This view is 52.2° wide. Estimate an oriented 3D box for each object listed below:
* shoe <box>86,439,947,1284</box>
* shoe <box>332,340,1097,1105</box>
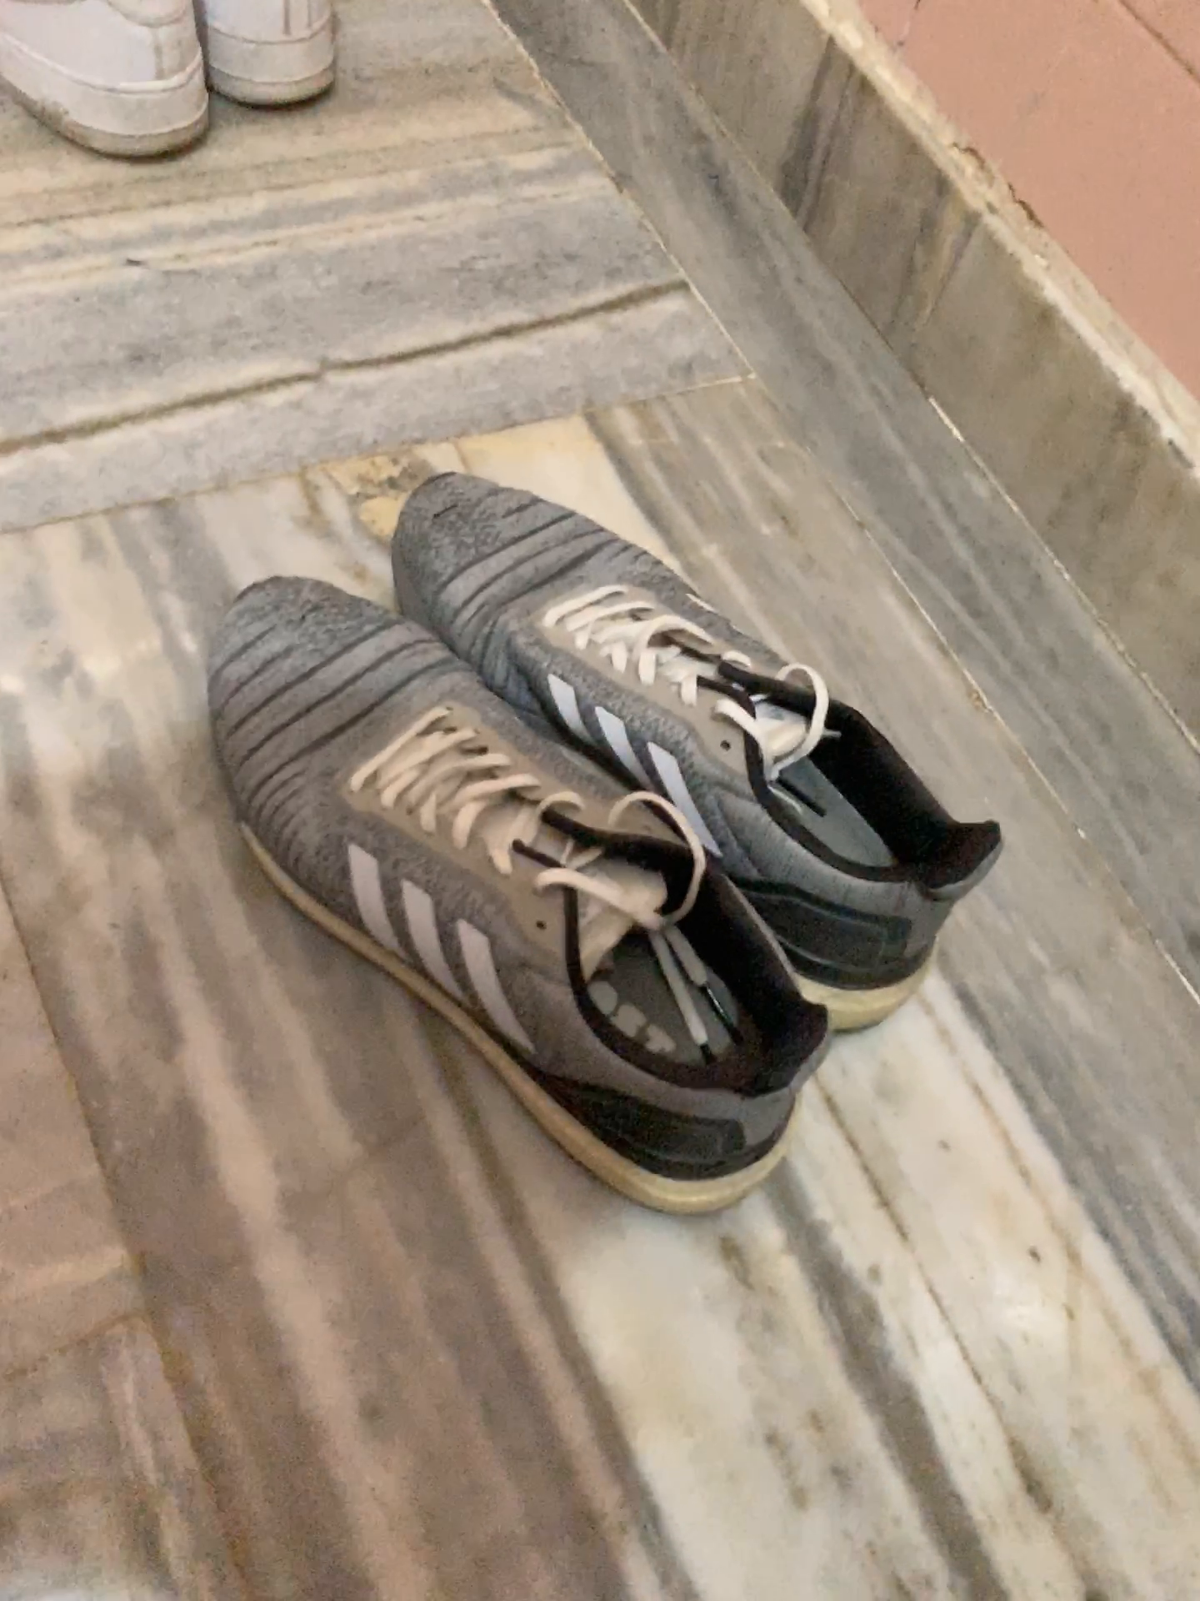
[{"bbox_3d":[-0.038,0.016,0.457,0.300,0.090,0.120,43,60,10],"label":"shoe"},{"bbox_3d":[0.034,-0.039,0.500,0.110,0.080,0.310,-37,76,-29],"label":"shoe"}]
